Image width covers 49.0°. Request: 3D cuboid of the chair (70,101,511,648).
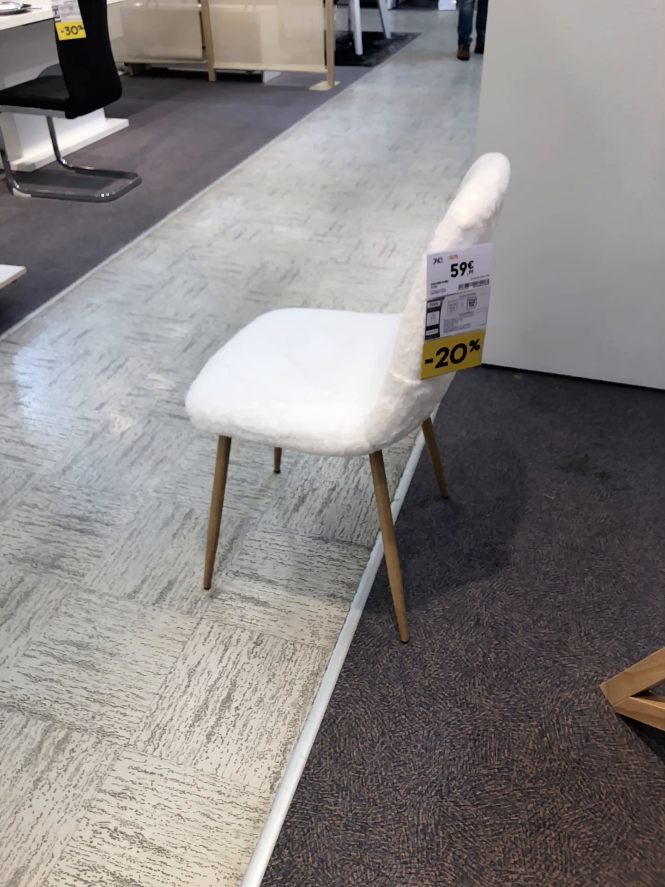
[{"bbox_3d":[-0.014,-0.139,1.383,0.550,0.815,0.523,9,38,14],"label":"chair"}]
